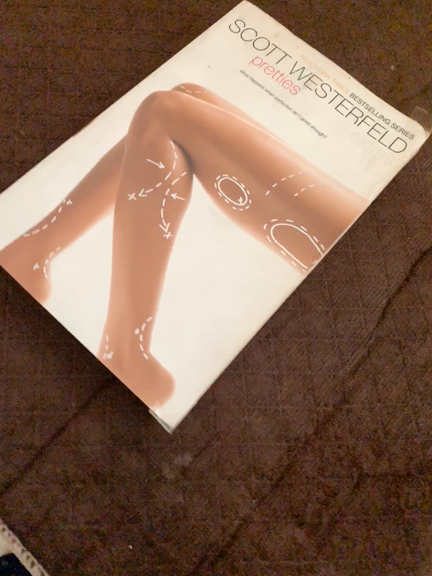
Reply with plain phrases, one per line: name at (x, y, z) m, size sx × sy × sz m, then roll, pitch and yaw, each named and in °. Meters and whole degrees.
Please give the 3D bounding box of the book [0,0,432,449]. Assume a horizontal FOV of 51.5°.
book at (0.005, -0.054, 0.243) m, size 0.150 × 0.030 × 0.221 m, roll 41°, pitch 74°, yaw 10°
